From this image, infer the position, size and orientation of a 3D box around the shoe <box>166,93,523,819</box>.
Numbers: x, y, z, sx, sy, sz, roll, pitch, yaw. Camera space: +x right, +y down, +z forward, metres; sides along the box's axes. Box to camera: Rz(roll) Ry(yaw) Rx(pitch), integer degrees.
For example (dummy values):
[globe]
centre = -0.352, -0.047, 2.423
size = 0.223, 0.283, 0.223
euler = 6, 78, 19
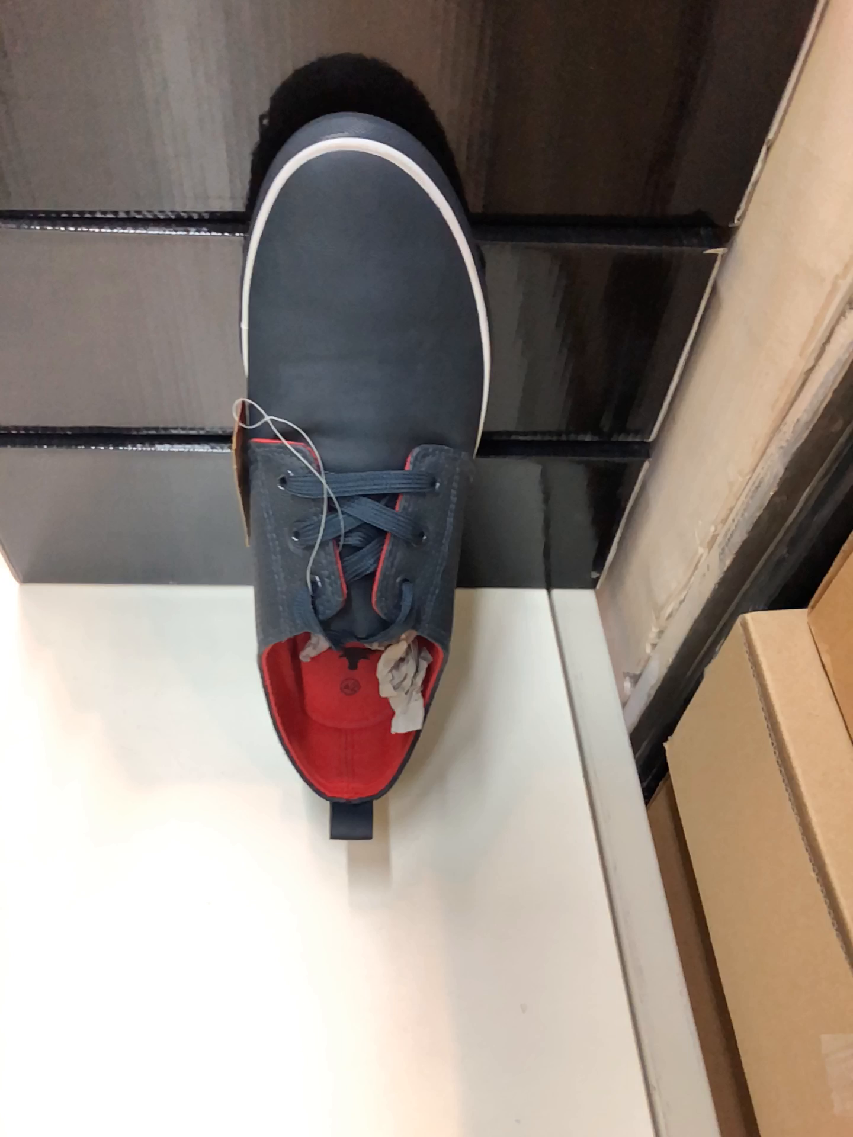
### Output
[shoe]
centre = -0.026, -0.038, 0.381
size = 0.103, 0.268, 0.101
euler = 2, 29, 0
